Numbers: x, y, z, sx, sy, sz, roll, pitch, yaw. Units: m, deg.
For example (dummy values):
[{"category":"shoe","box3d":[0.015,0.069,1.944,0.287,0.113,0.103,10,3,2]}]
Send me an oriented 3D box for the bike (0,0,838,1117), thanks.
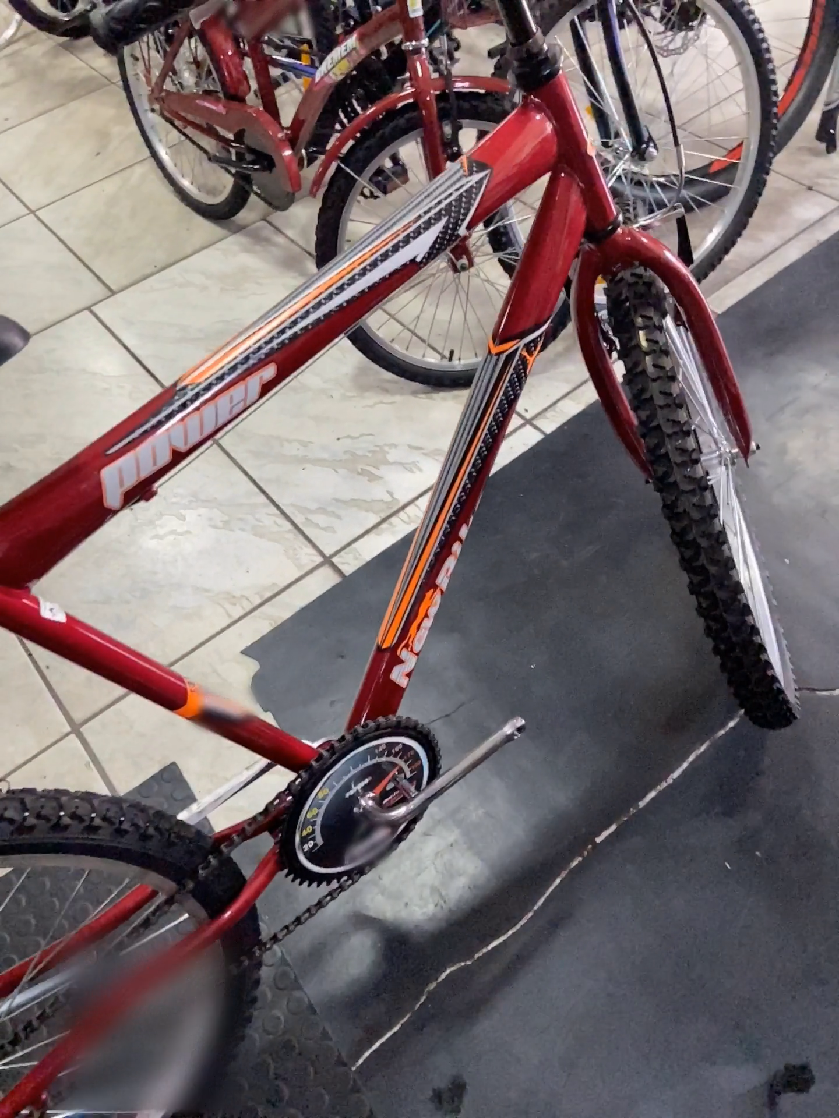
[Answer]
[{"category":"bike","box3d":[-0.226,-0.038,0.702,0.567,1.030,1.585,33,67,27]}]
